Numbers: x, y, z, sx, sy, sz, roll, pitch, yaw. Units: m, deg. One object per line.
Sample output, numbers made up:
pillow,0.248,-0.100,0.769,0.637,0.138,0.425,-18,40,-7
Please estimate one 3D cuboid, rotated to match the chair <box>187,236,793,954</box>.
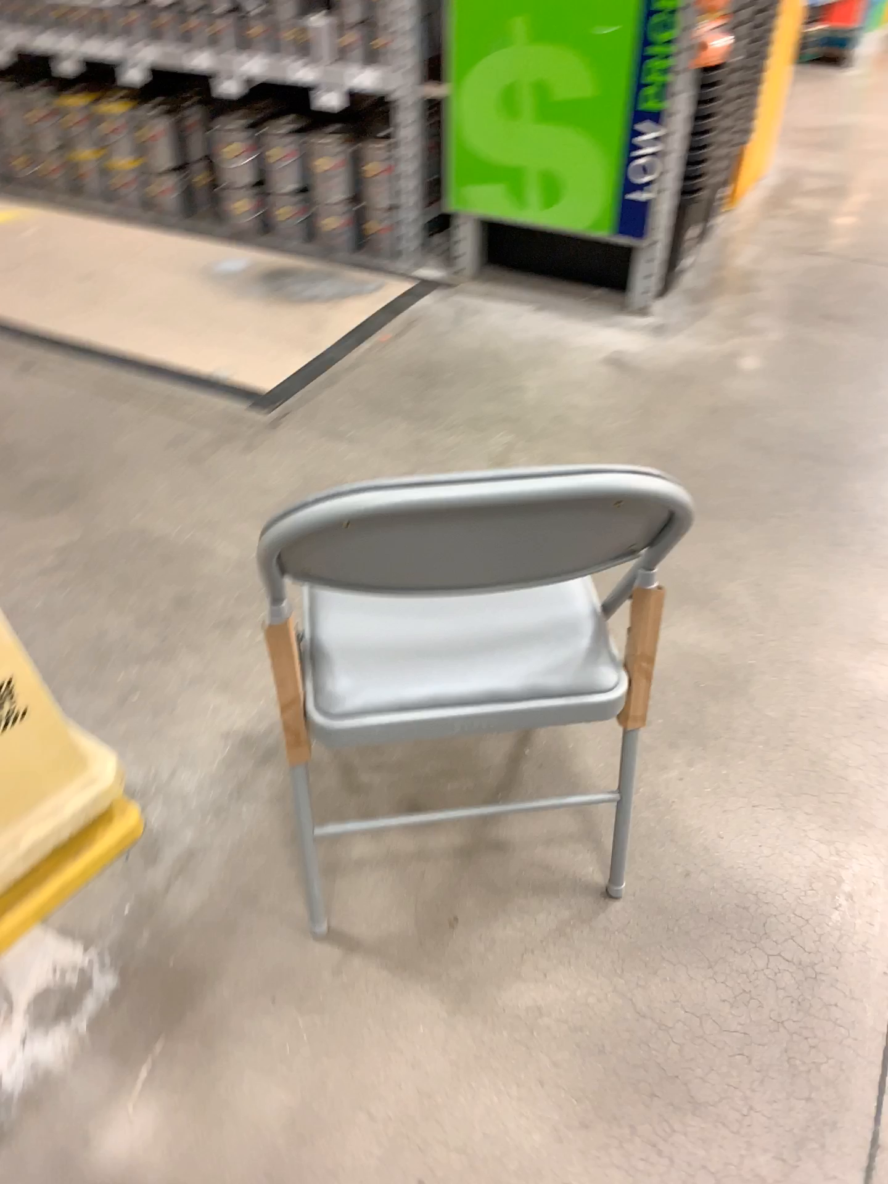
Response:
chair,0.012,0.012,1.130,0.487,0.708,0.487,-5,41,-6
